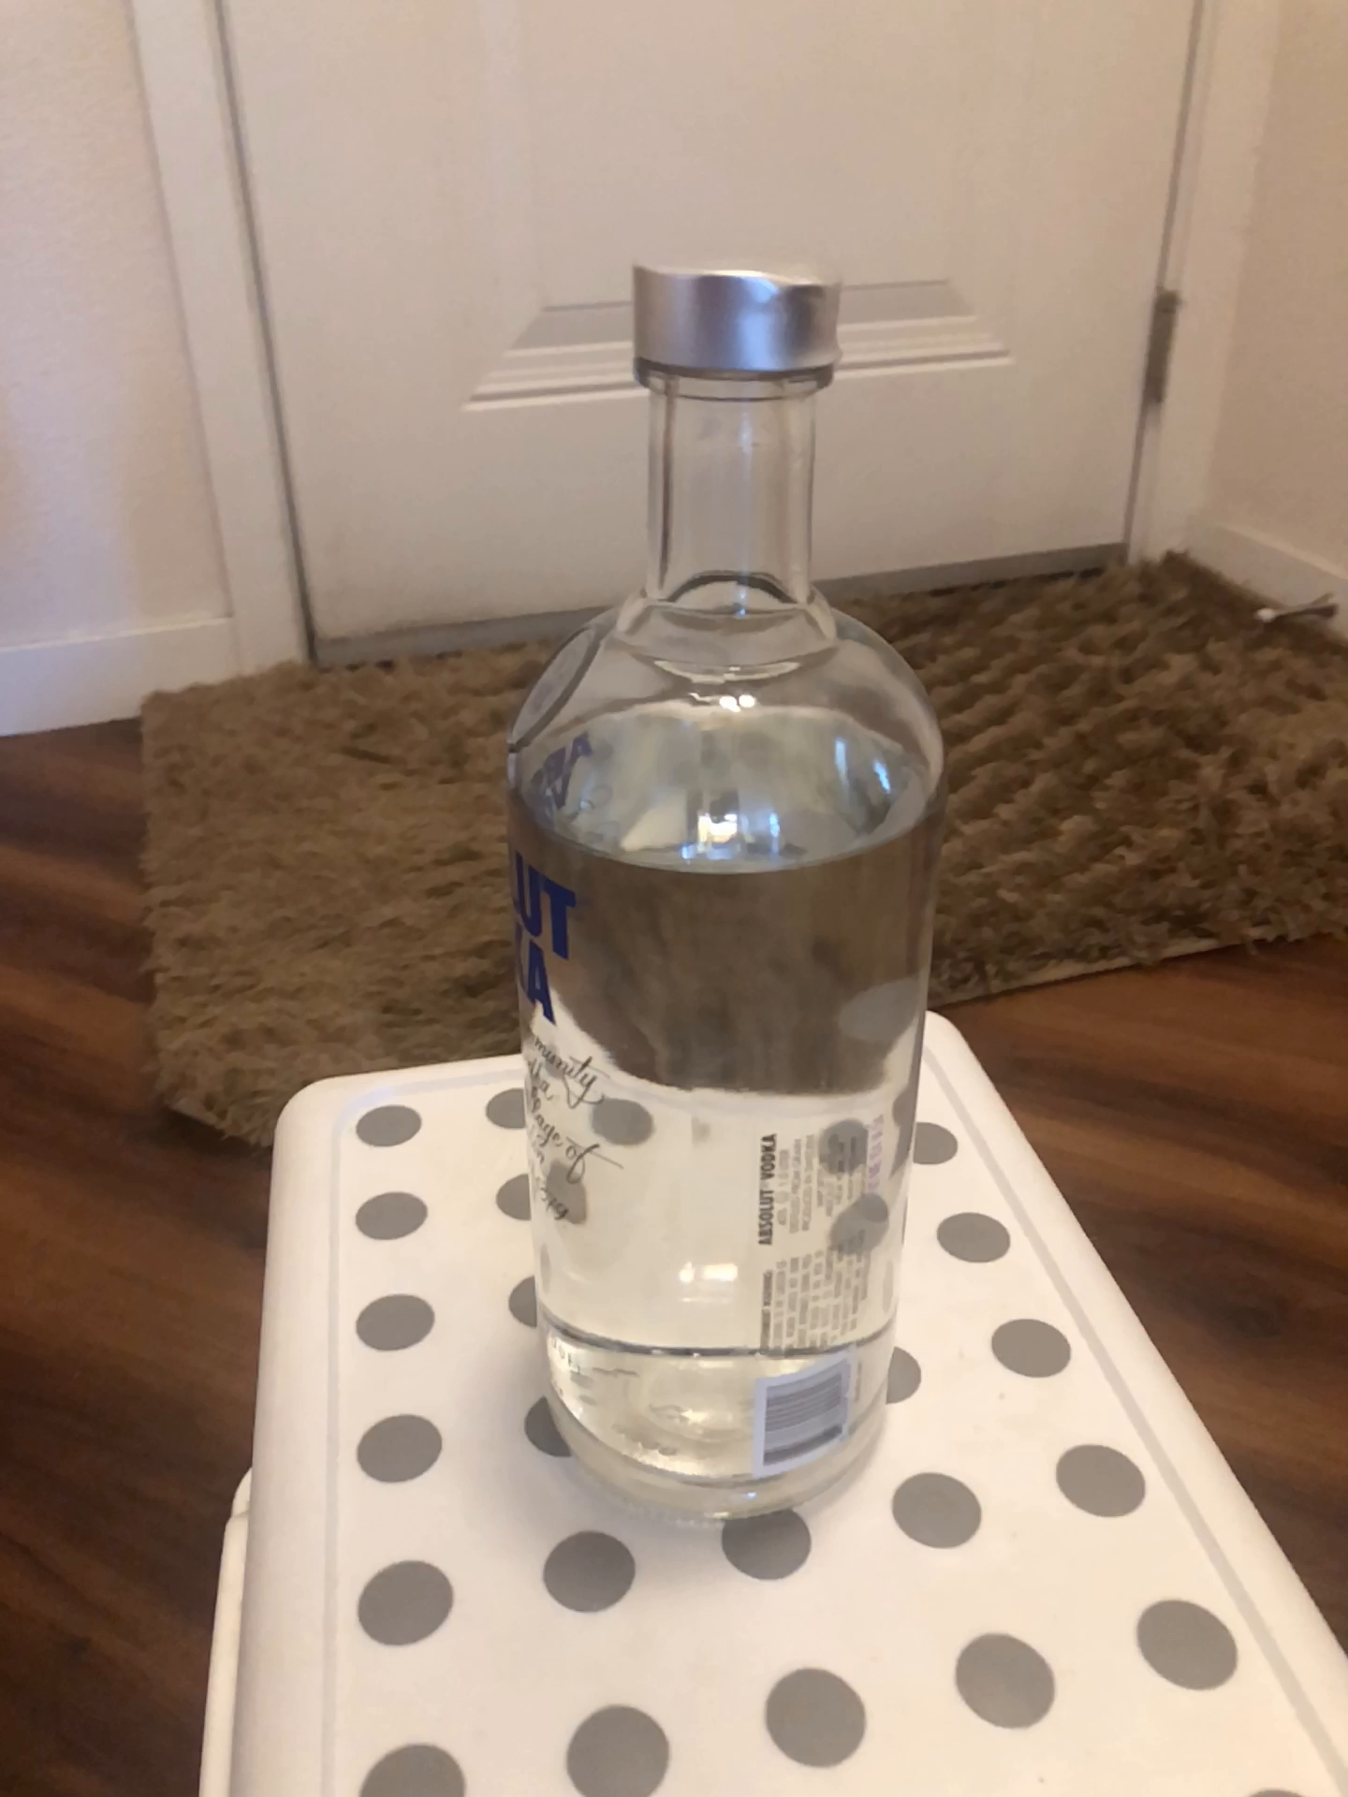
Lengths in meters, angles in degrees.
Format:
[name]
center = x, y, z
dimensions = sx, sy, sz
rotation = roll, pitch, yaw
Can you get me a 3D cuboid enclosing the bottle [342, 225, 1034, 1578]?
[bottle]
center = 0.011, 0.009, 0.316
dimensions = 0.100, 0.269, 0.090
rotation = 5, 30, 11
